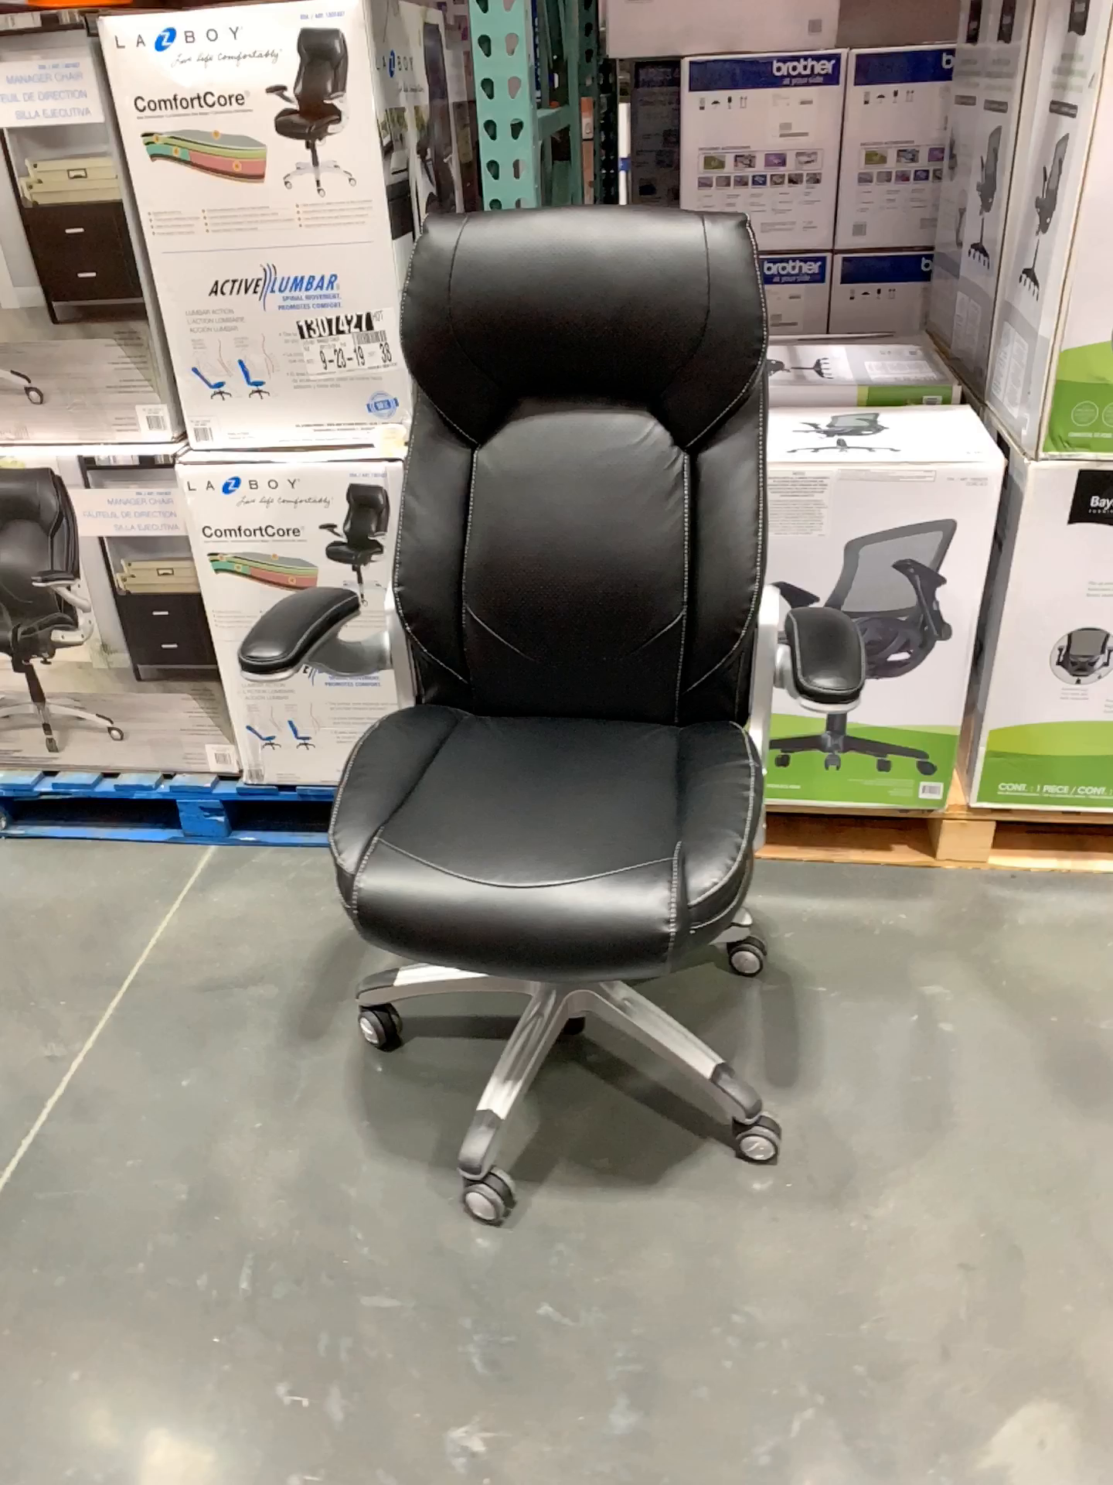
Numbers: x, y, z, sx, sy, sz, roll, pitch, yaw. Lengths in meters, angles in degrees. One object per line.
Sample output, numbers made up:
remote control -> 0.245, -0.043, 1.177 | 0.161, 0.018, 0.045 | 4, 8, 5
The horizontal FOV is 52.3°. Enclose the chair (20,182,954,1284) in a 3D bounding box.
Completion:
chair -> 0.010, -0.041, 1.438 | 0.728, 1.128, 0.708 | 3, 31, 11
